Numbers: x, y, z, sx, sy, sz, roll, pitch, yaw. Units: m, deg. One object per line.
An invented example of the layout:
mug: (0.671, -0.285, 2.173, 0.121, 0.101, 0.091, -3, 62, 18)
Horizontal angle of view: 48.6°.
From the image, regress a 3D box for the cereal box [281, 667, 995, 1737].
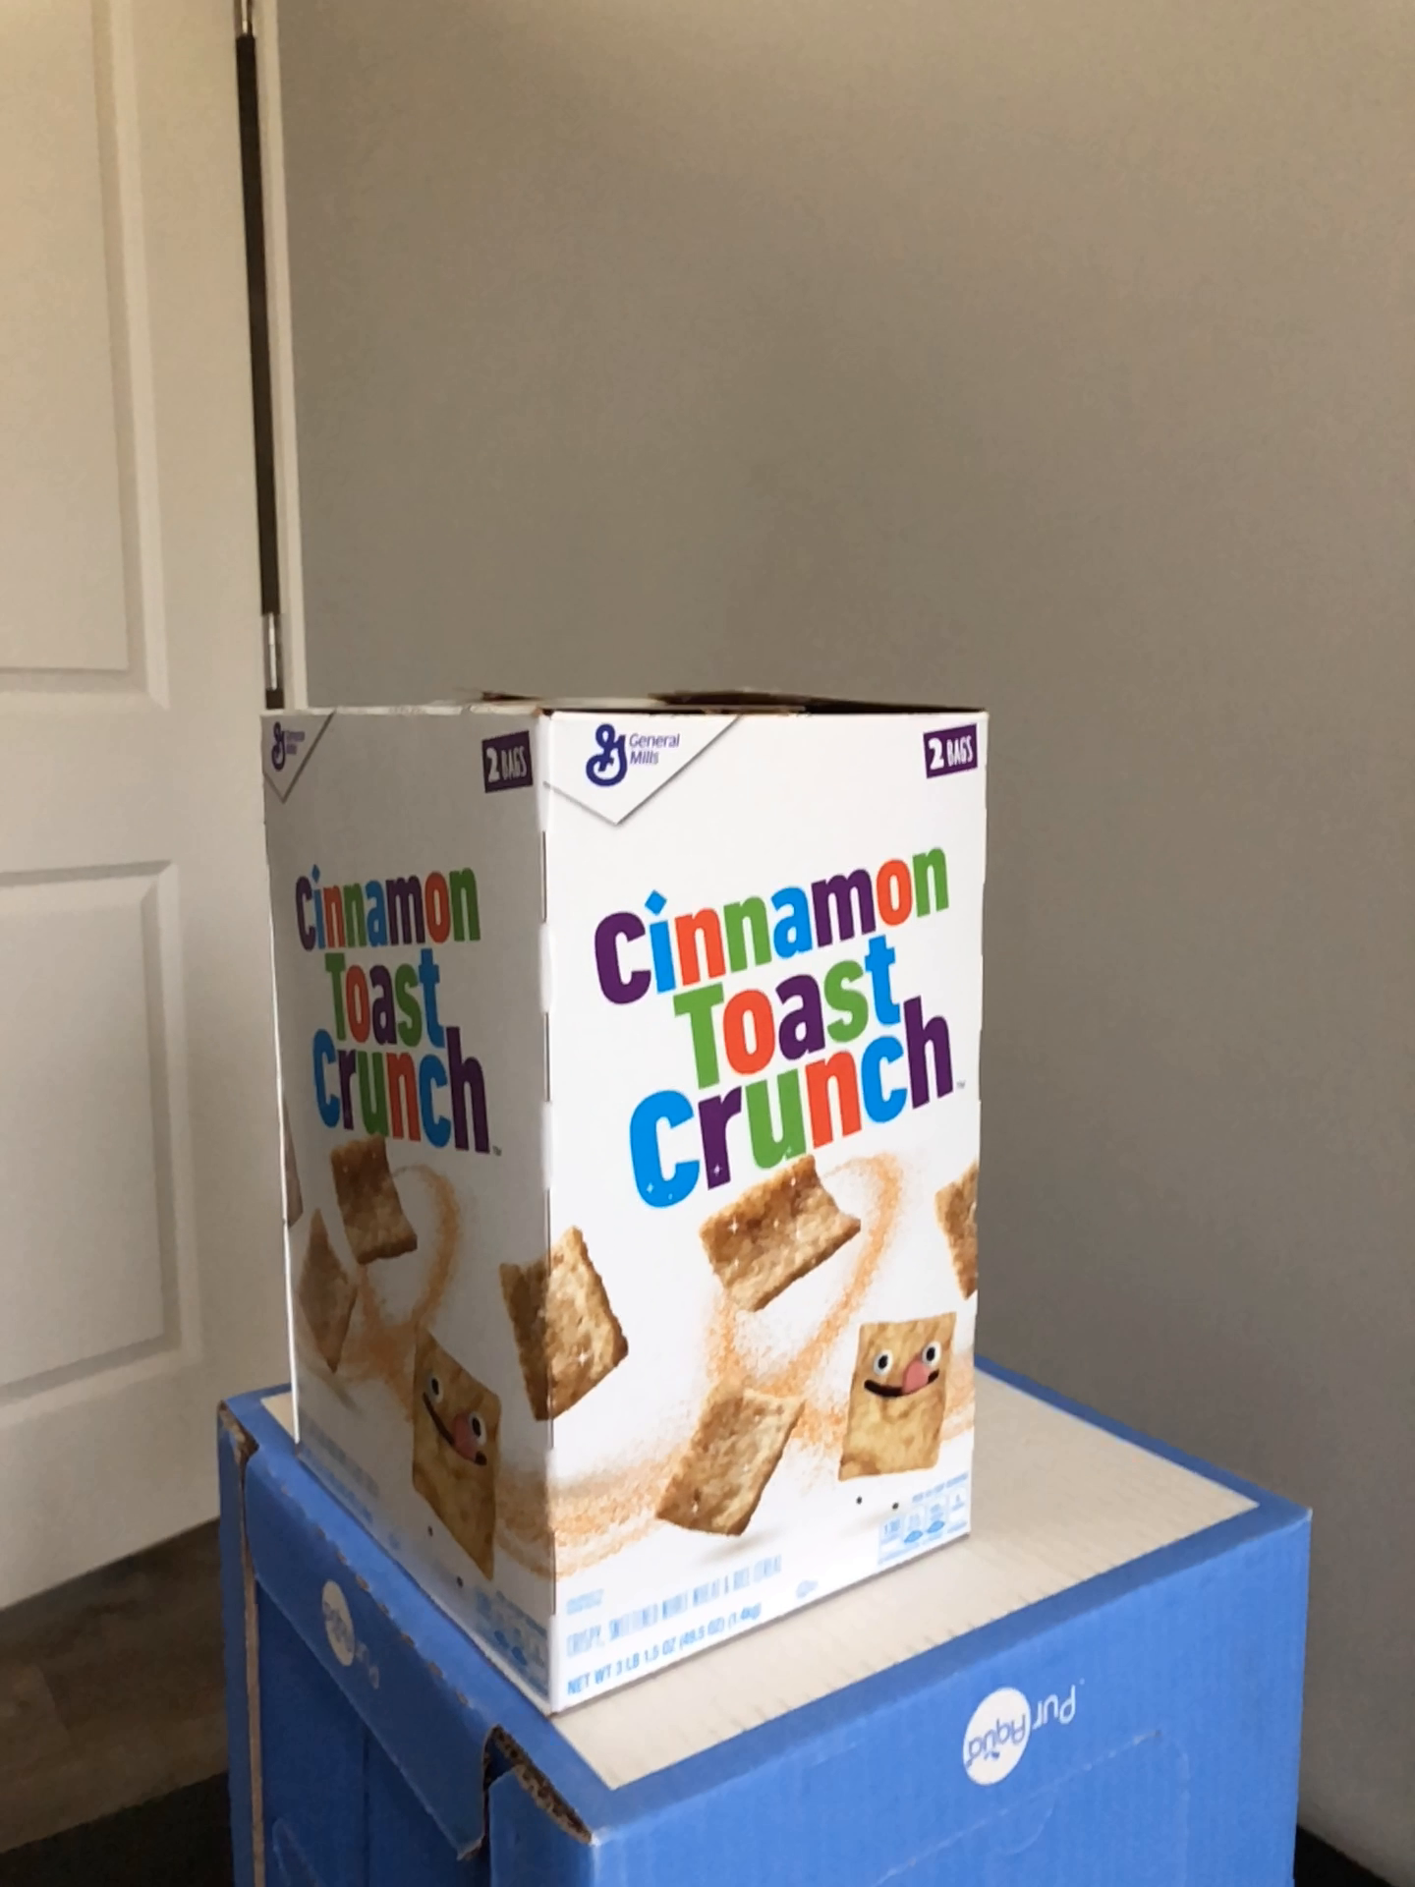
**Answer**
cereal box: (-0.031, 0.061, 0.570, 0.170, 0.310, 0.200, -5, 9, -35)
